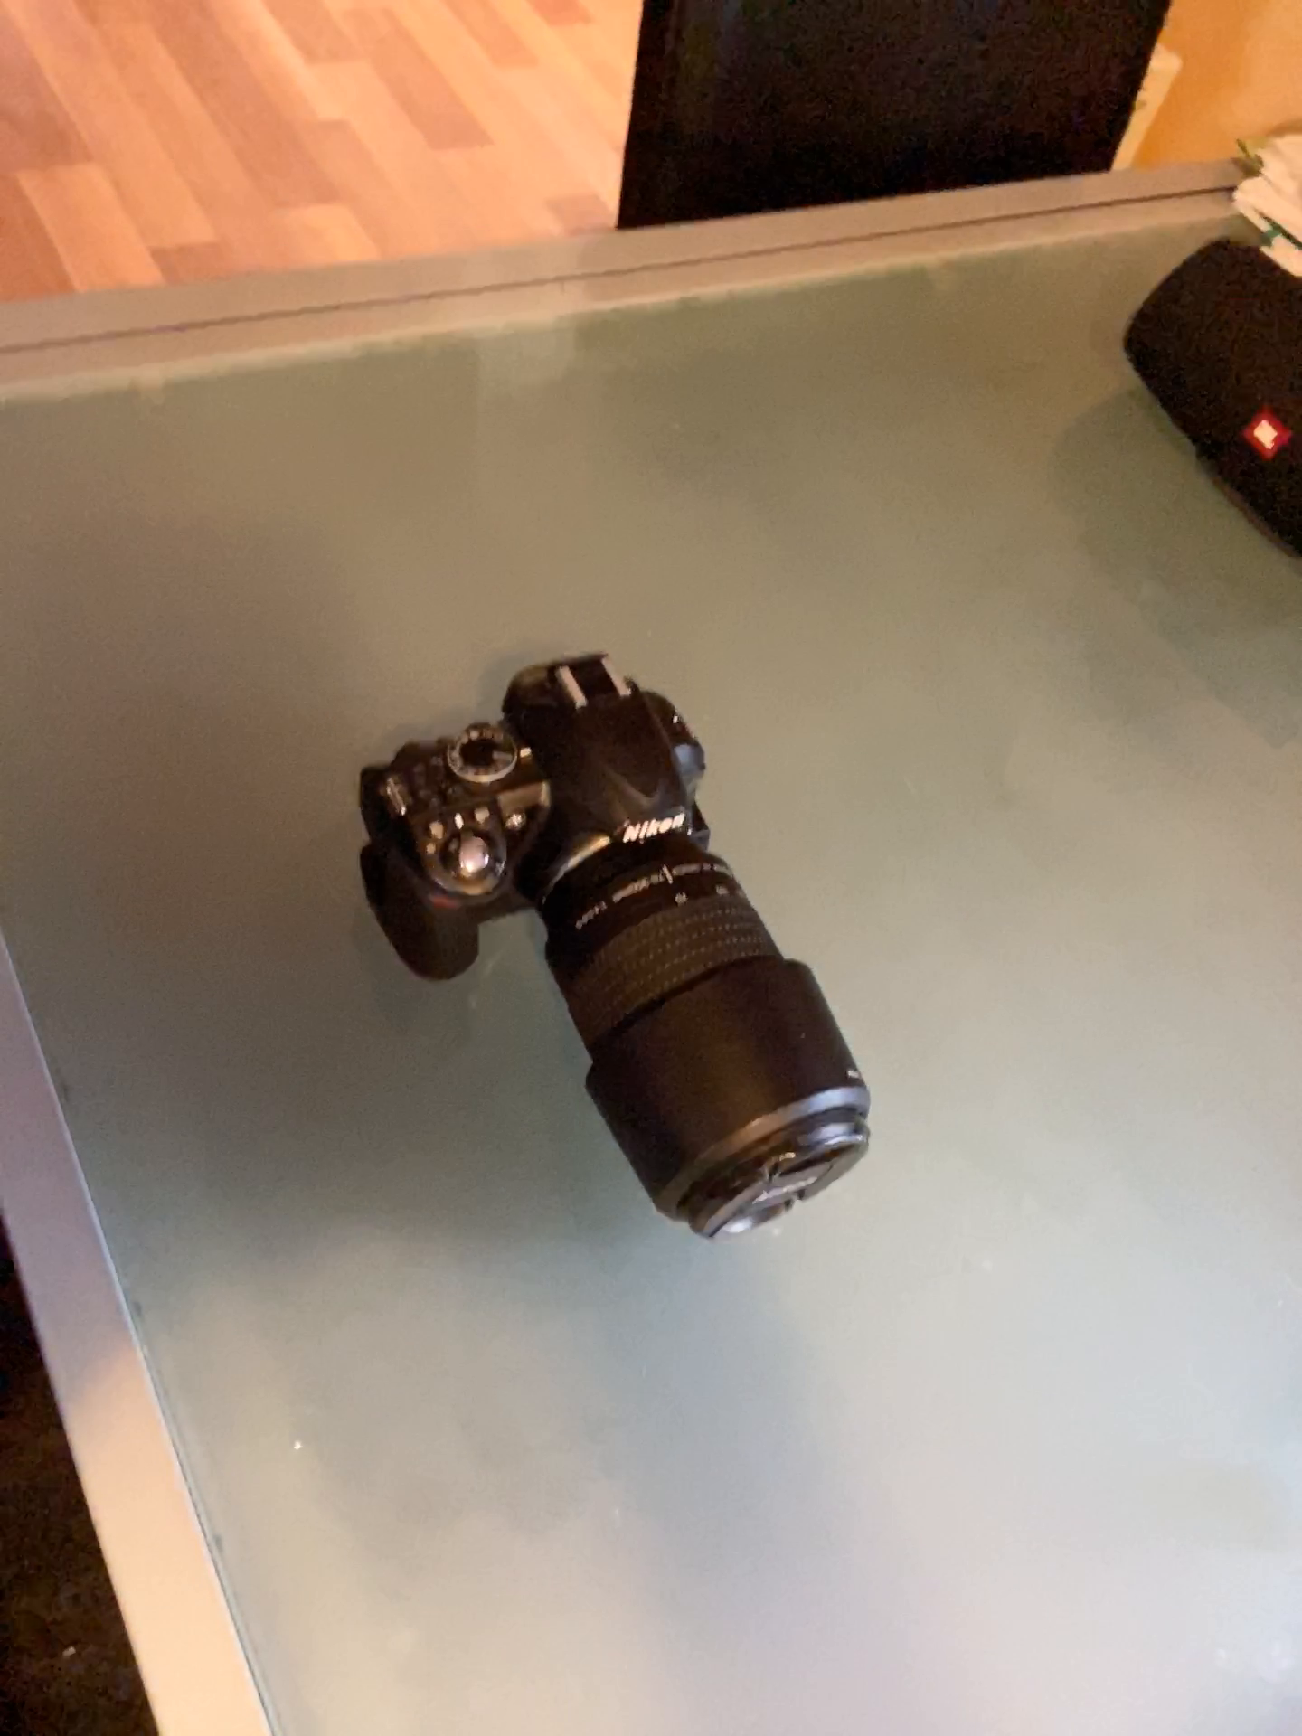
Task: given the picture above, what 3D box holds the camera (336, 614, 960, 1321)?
[{"bbox_3d":[-0.013,0.027,0.451,0.124,0.094,0.188,-18,64,-24],"label":"camera"}]
